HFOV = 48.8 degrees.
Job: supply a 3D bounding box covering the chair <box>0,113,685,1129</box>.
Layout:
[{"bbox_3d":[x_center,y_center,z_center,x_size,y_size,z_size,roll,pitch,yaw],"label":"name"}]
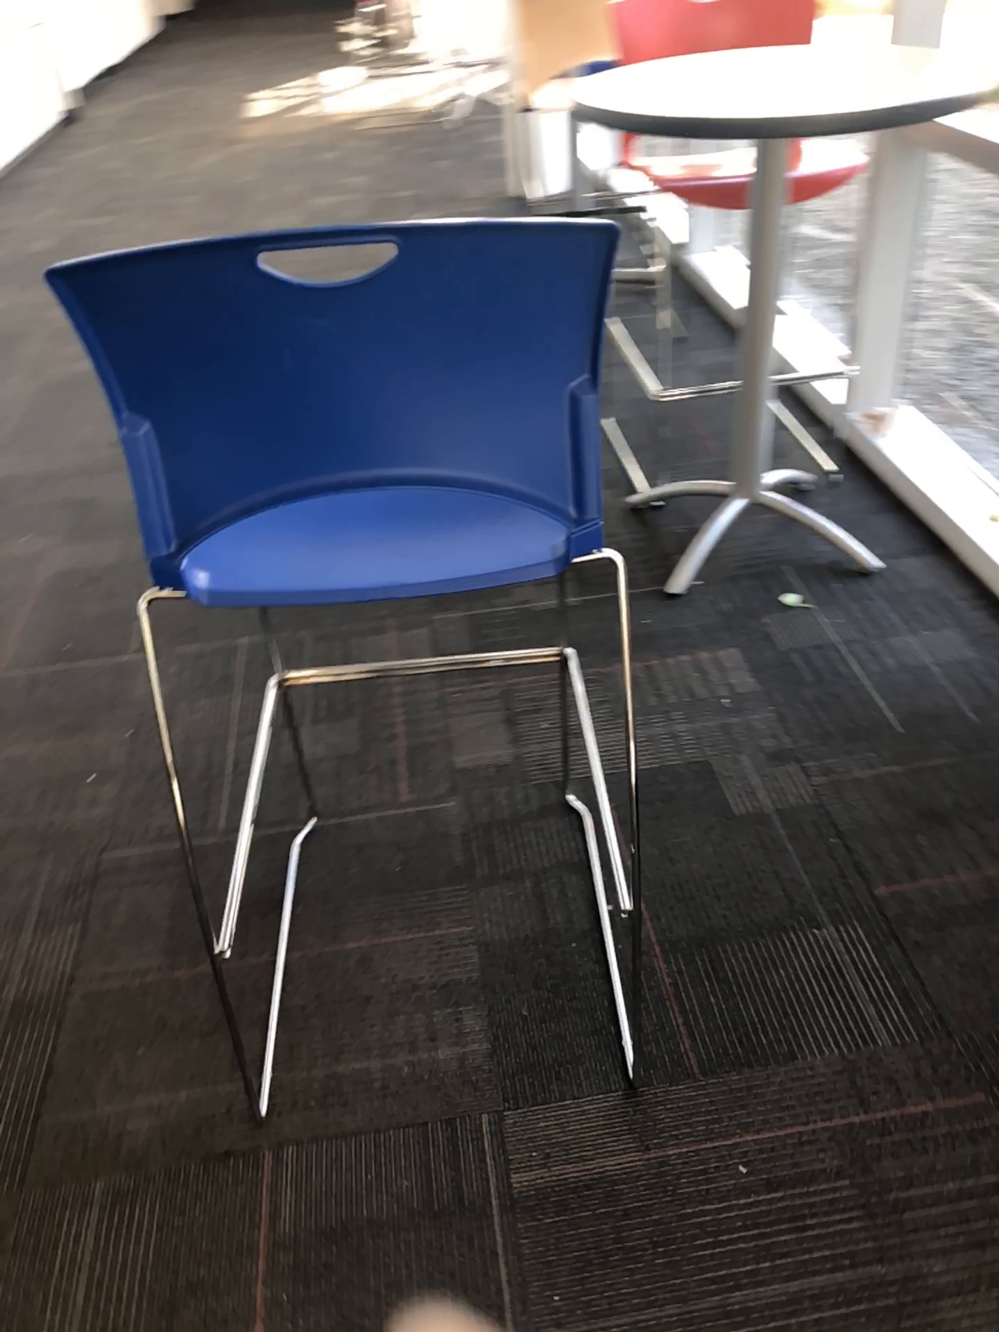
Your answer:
[{"bbox_3d":[-0.117,-0.043,1.286,0.550,0.965,0.613,-5,34,1],"label":"chair"}]
